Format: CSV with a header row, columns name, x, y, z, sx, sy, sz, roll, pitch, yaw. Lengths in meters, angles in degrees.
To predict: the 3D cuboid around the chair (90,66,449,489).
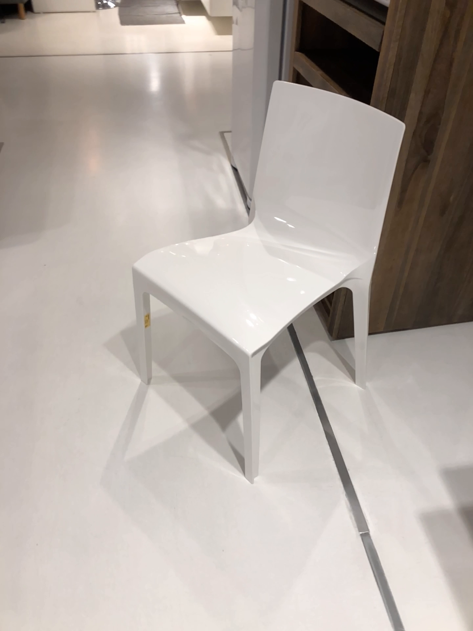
name,x,y,z,sx,sy,sz,roll,pitch,yaw
chair,0.062,-0.099,1.272,0.522,0.754,0.482,-33,52,-32
